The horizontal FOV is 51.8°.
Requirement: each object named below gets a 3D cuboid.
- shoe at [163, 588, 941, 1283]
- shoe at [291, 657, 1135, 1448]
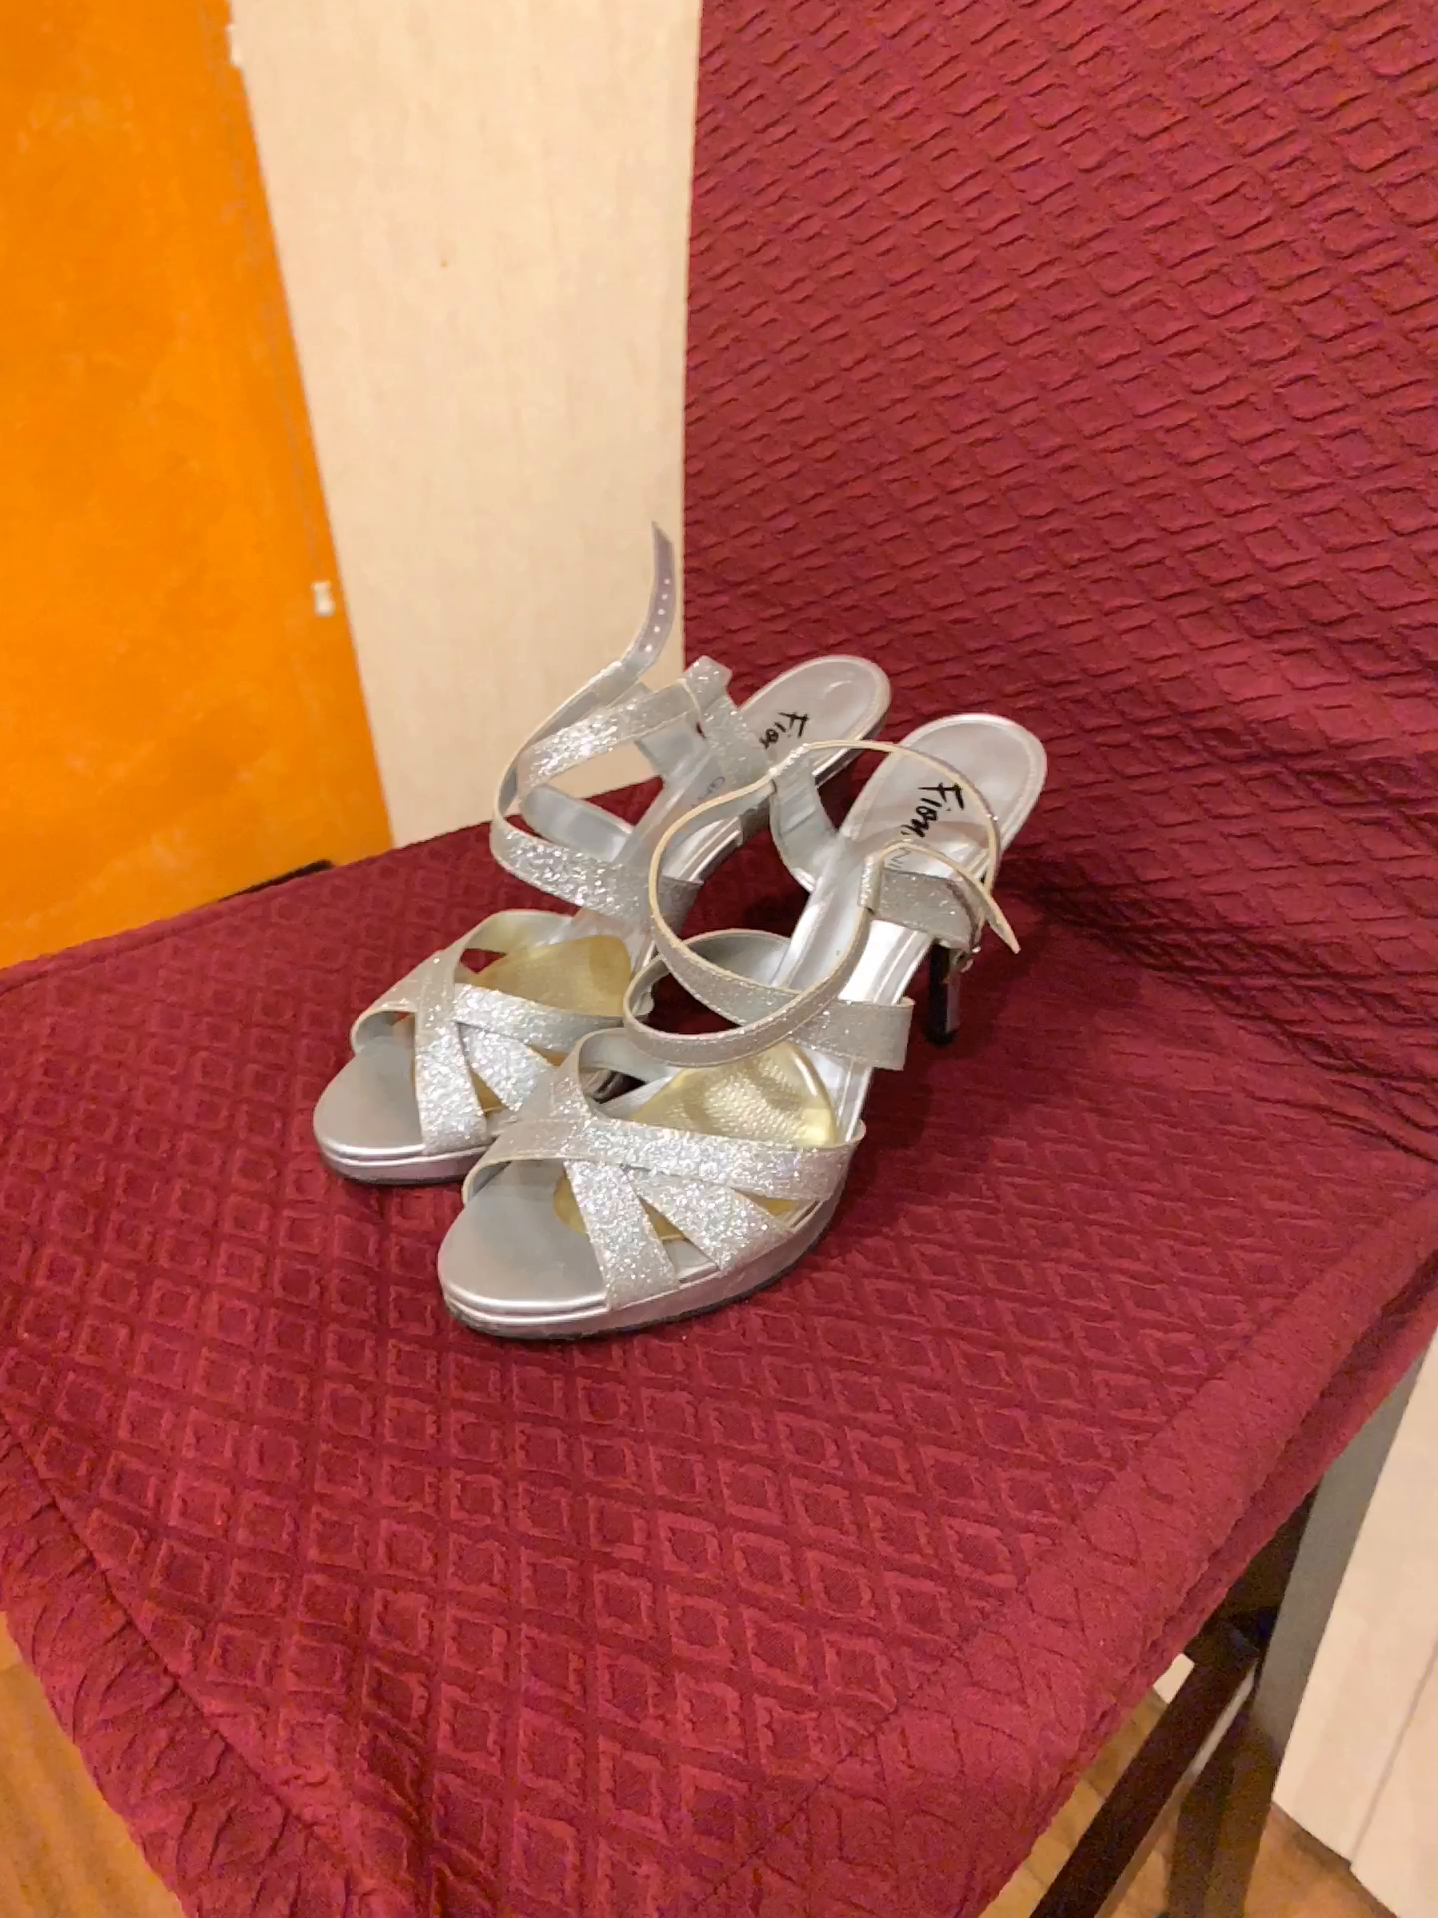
[{"bbox_3d":[-0.041,-0.022,0.495,0.230,0.119,0.100,-30,43,-34],"label":"shoe"},{"bbox_3d":[0.008,0.013,0.440,0.220,0.119,0.100,-28,42,-32],"label":"shoe"}]
